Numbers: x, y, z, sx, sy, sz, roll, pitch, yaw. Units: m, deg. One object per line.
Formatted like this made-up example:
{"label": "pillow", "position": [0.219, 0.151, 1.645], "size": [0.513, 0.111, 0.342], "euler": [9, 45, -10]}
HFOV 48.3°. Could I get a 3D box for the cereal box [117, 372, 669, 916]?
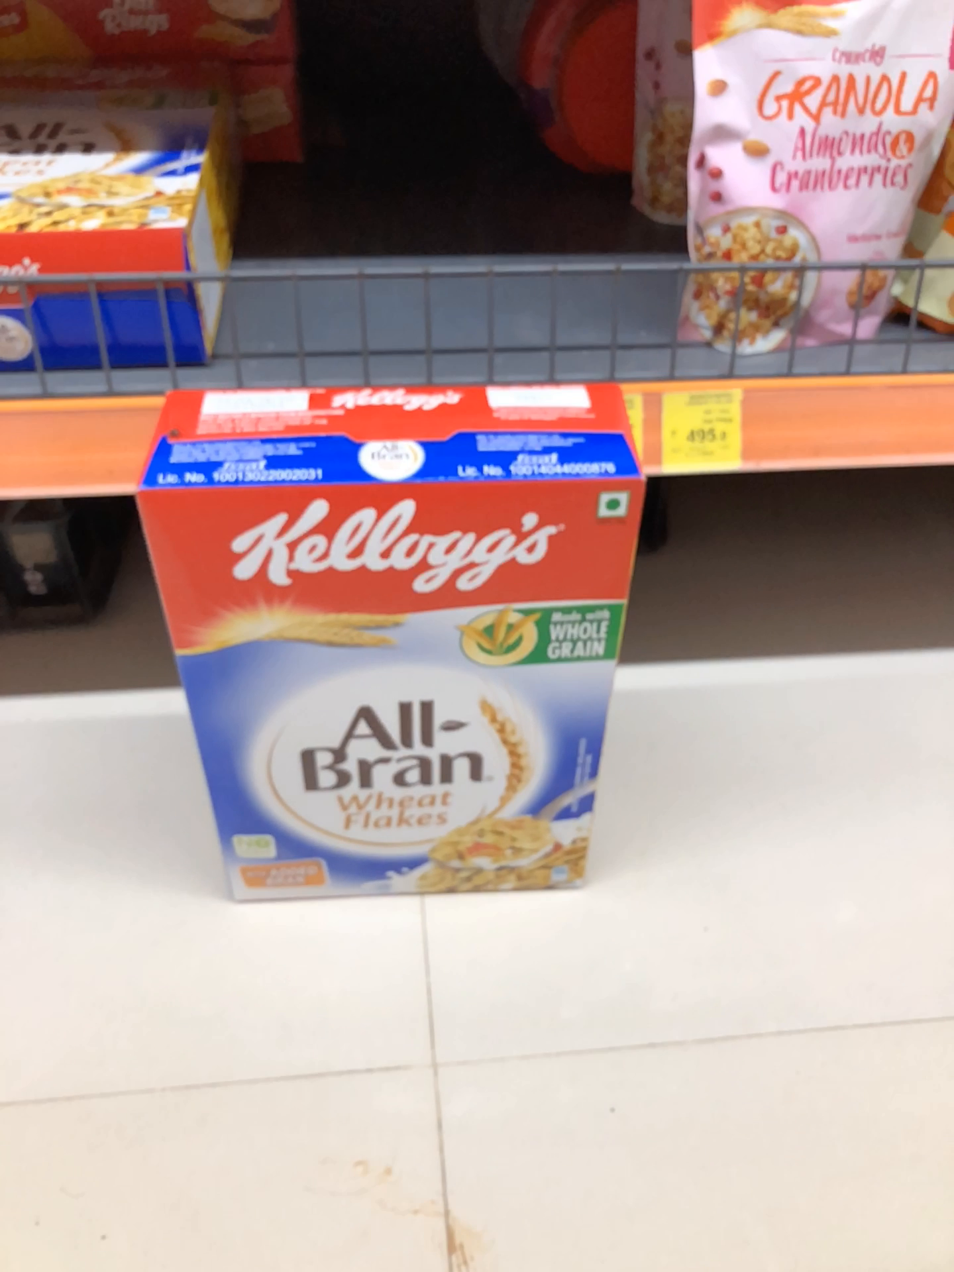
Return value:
{"label": "cereal box", "position": [-0.033, 0.017, 0.485], "size": [0.190, 0.258, 0.080], "euler": [-1, 43, -4]}
